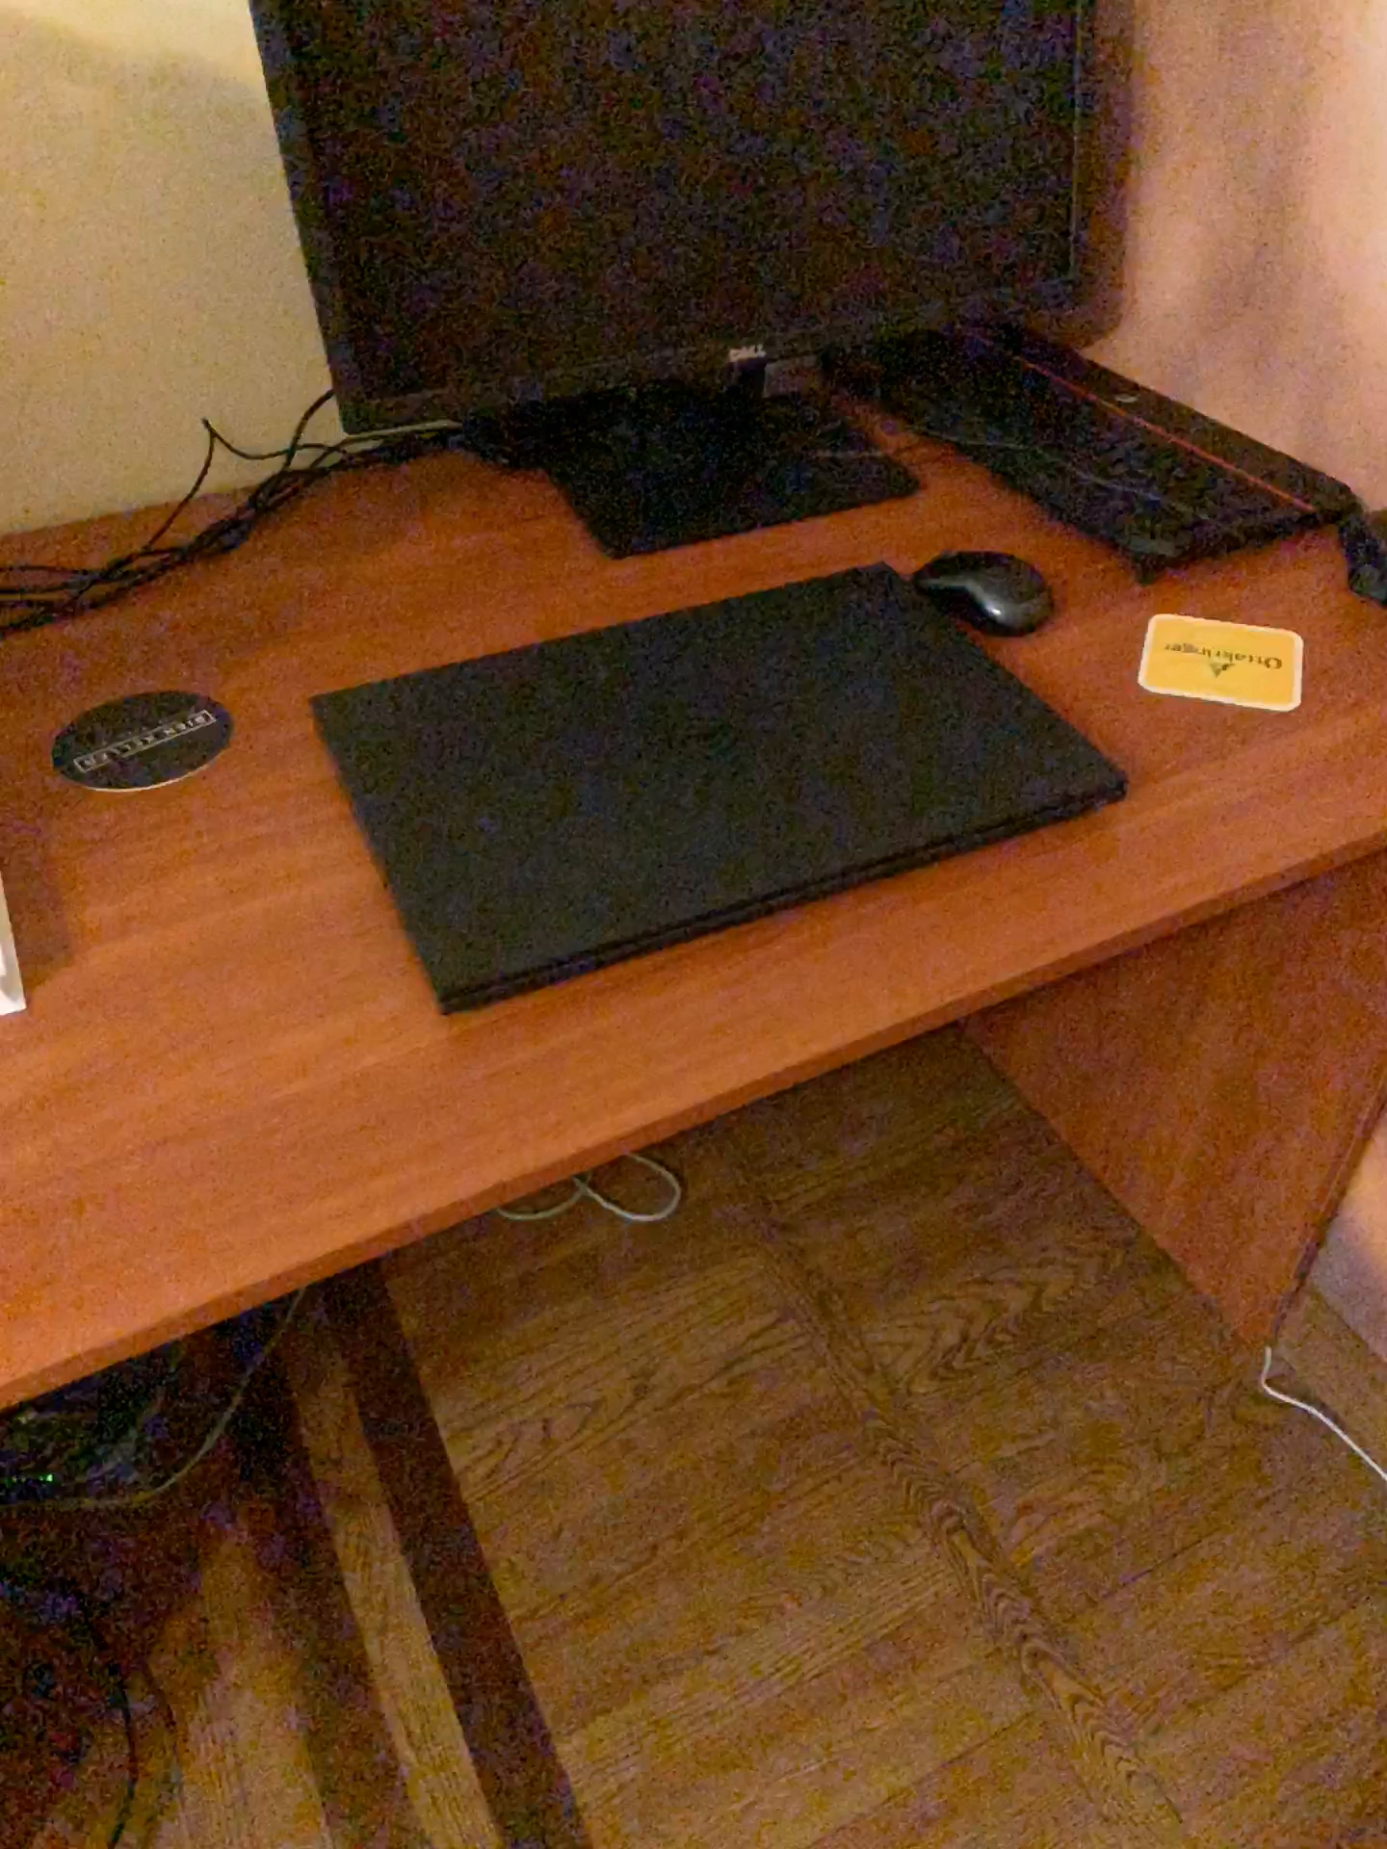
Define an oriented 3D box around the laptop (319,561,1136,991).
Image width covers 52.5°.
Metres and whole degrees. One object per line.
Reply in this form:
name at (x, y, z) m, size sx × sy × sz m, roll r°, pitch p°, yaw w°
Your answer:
laptop at (0.008, -0.098, 0.720) m, size 0.351 × 0.001 × 0.248 m, roll -17°, pitch 44°, yaw -18°
